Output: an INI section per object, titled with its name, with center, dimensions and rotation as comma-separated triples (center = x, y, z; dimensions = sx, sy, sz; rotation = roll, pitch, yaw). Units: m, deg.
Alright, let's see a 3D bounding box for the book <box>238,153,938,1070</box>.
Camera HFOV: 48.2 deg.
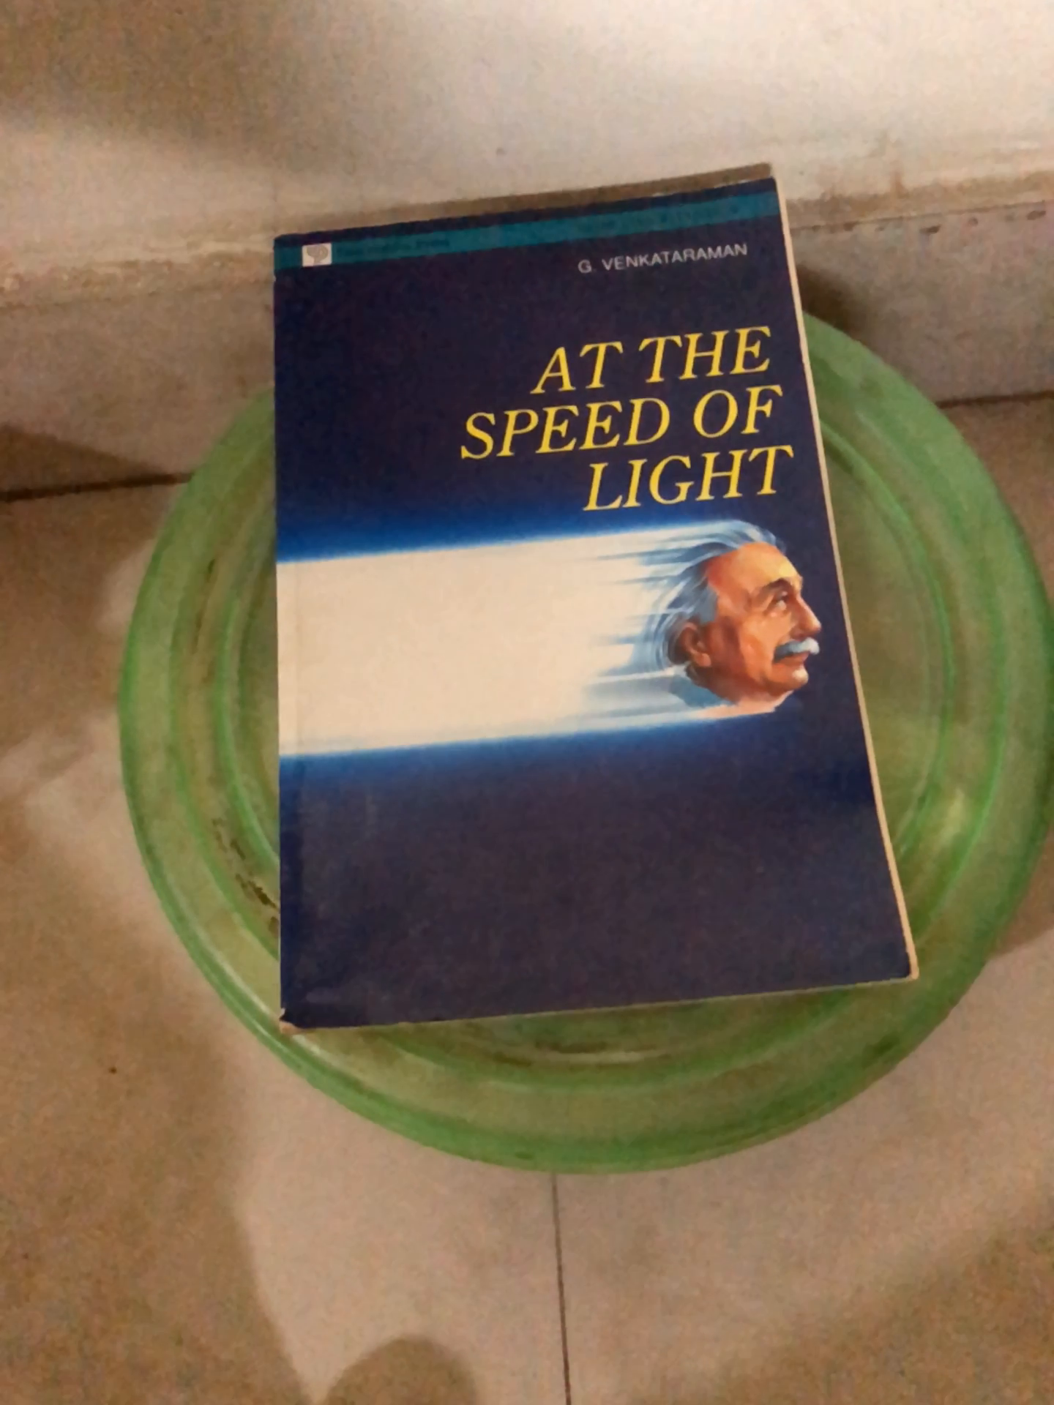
[book]
center = 0.003, -0.034, 0.300
dimensions = 0.150, 0.020, 0.230
rotation = -6, 70, 2
